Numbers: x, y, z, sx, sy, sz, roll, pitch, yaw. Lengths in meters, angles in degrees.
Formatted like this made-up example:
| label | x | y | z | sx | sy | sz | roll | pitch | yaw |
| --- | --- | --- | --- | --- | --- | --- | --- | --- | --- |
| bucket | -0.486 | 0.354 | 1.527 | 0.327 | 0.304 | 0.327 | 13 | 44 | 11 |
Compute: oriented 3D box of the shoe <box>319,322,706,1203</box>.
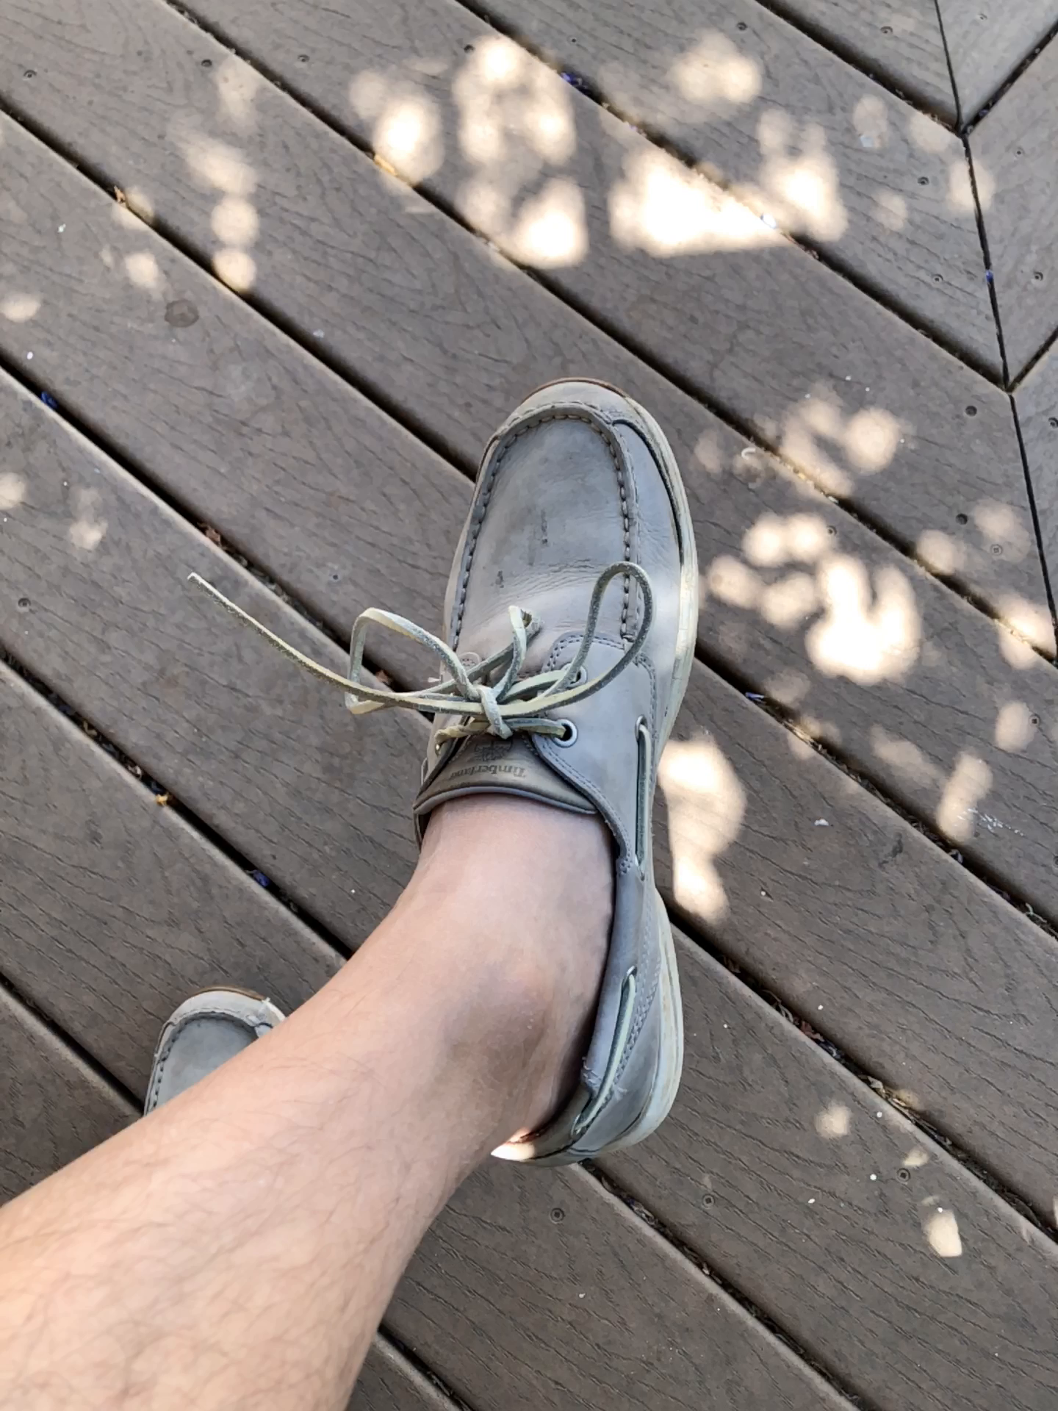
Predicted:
| label | x | y | z | sx | sy | sz | roll | pitch | yaw |
| --- | --- | --- | --- | --- | --- | --- | --- | --- | --- |
| shoe | 0.000 | 0.021 | 0.489 | 0.110 | 0.092 | 0.322 | -5 | 75 | 34 |
